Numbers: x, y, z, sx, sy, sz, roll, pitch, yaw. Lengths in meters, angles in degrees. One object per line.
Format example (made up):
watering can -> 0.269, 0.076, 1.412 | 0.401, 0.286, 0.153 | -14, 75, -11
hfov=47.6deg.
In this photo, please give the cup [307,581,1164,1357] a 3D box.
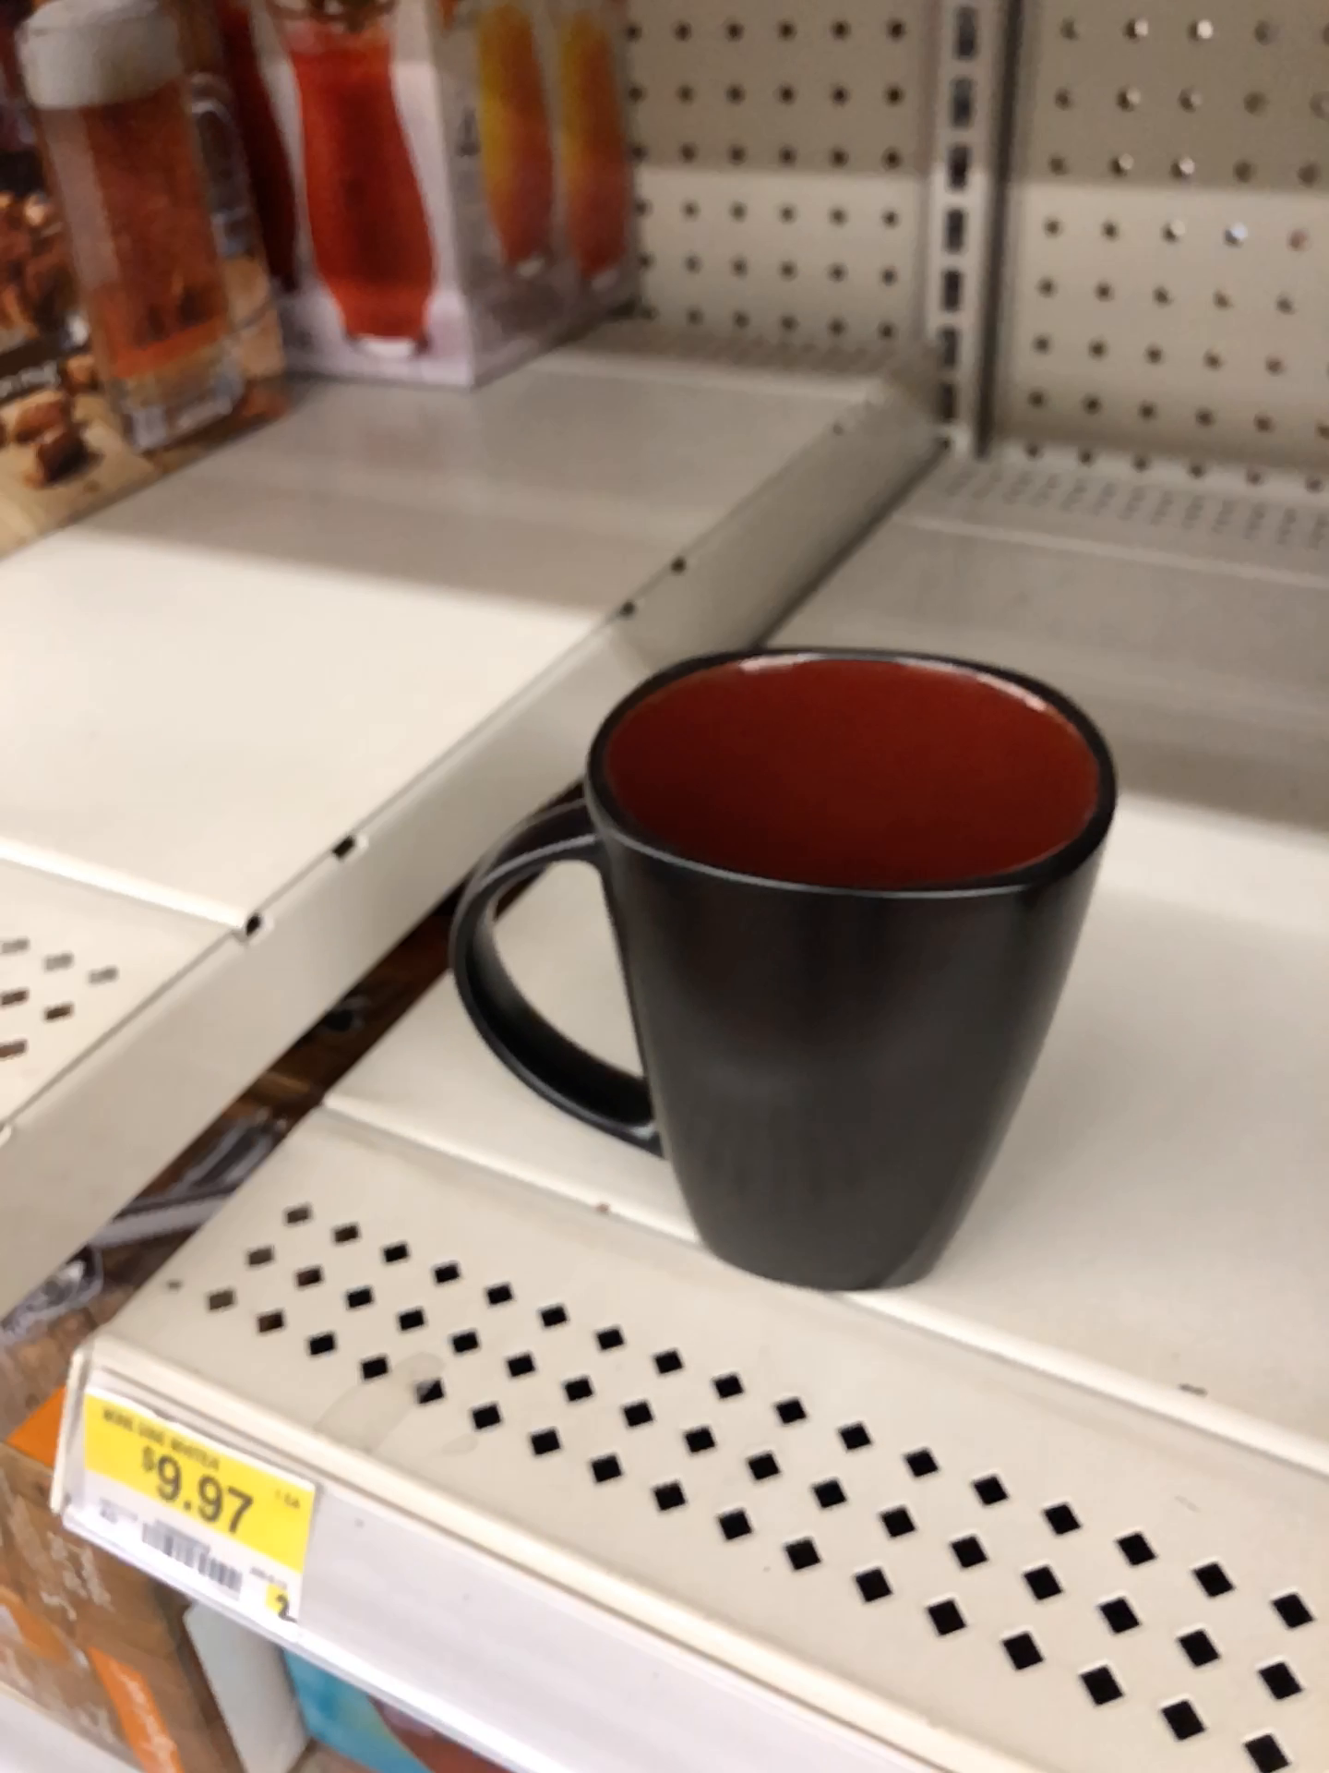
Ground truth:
cup -> 0.019, 0.010, 0.288 | 0.130, 0.100, 0.090 | 6, 35, 13
